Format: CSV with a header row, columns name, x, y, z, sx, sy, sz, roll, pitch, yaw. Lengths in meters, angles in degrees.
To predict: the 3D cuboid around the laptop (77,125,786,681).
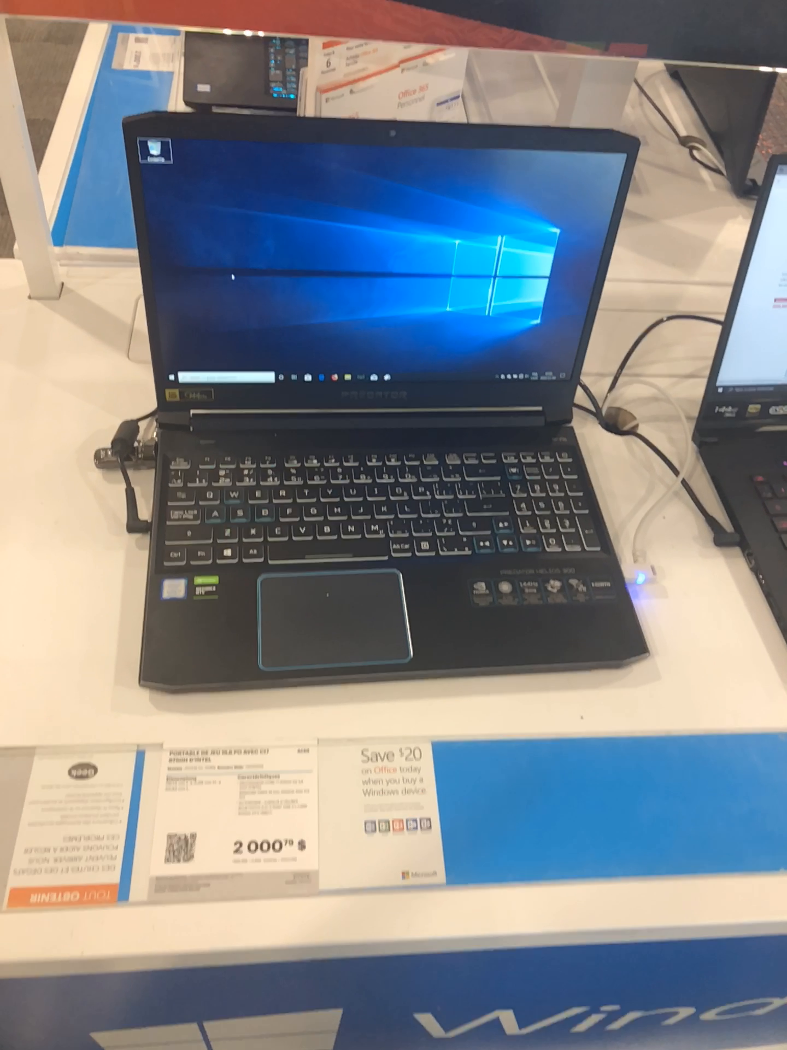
name,x,y,z,sx,sy,sz,roll,pitch,yaw
laptop,0.005,-0.083,0.587,0.348,0.230,0.274,-1,52,-8
